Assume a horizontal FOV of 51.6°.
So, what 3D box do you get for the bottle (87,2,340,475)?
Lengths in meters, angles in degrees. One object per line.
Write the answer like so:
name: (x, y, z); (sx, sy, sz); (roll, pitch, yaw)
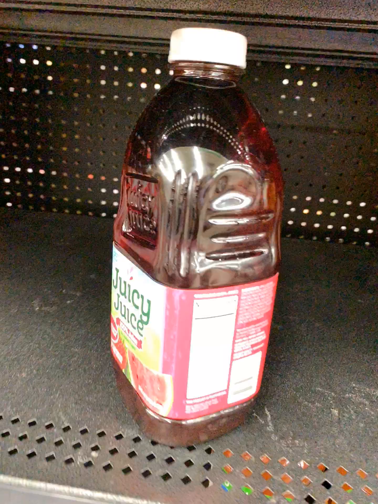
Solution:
bottle: (-0.003, -0.008, 0.271); (0.090, 0.255, 0.125); (-9, 25, -31)
